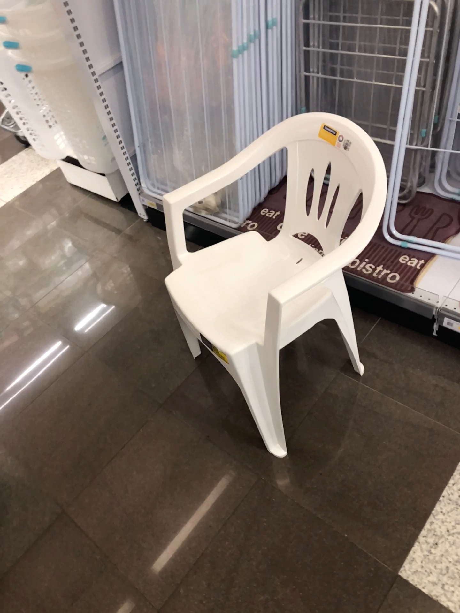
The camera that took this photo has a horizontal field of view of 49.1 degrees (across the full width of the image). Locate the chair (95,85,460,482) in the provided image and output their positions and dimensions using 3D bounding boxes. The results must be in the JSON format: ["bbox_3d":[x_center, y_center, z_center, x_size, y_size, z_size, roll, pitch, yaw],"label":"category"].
[{"bbox_3d":[0.147,-0.077,1.397,0.601,0.705,0.603,-35,48,-17],"label":"chair"}]
